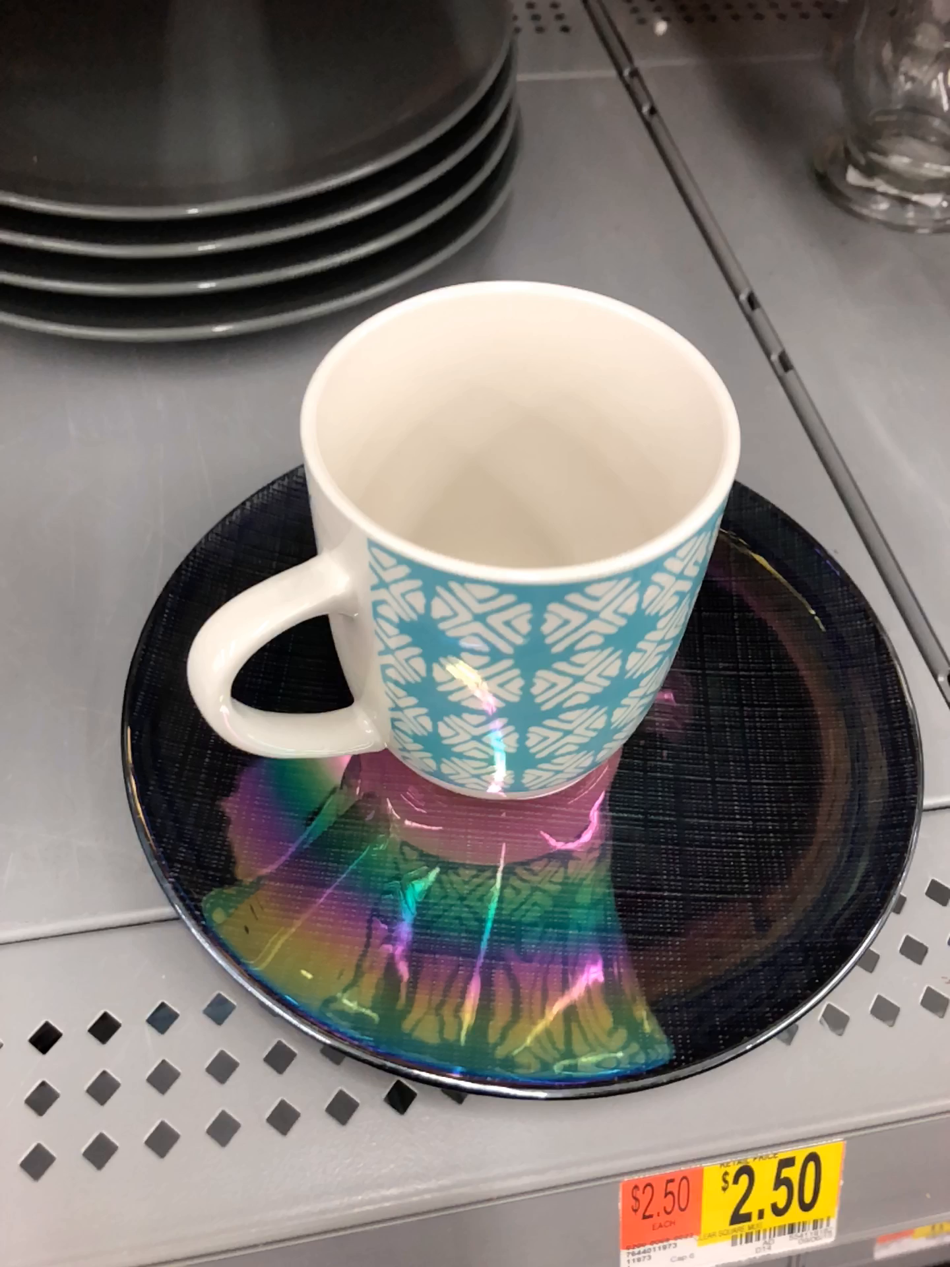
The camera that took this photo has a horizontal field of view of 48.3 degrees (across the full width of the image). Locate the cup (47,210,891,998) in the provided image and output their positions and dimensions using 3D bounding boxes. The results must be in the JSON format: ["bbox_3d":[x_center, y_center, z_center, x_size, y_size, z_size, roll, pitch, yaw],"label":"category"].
[{"bbox_3d":[-0.003,-0.008,0.229,0.122,0.098,0.089,-26,59,-21],"label":"cup"}]
